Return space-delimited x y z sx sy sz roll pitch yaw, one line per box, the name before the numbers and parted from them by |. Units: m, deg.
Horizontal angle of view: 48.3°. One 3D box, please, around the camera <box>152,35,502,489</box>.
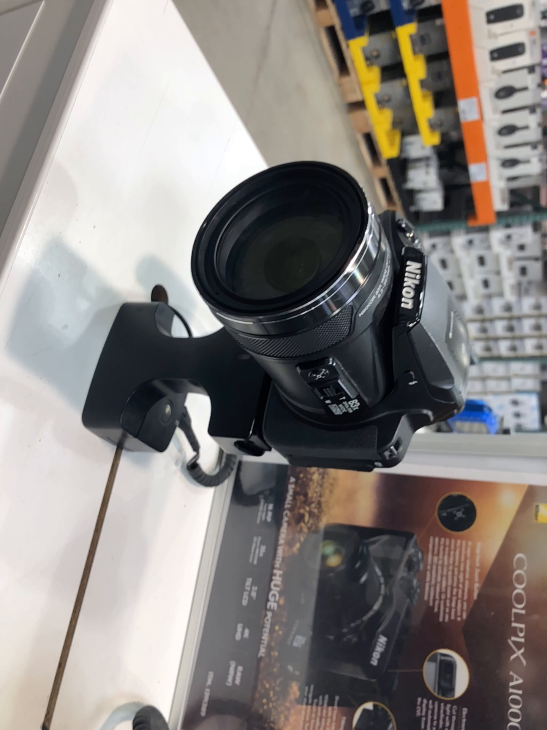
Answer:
camera | 0.046 -0.035 0.297 0.151 0.109 0.140 51 45 -54
